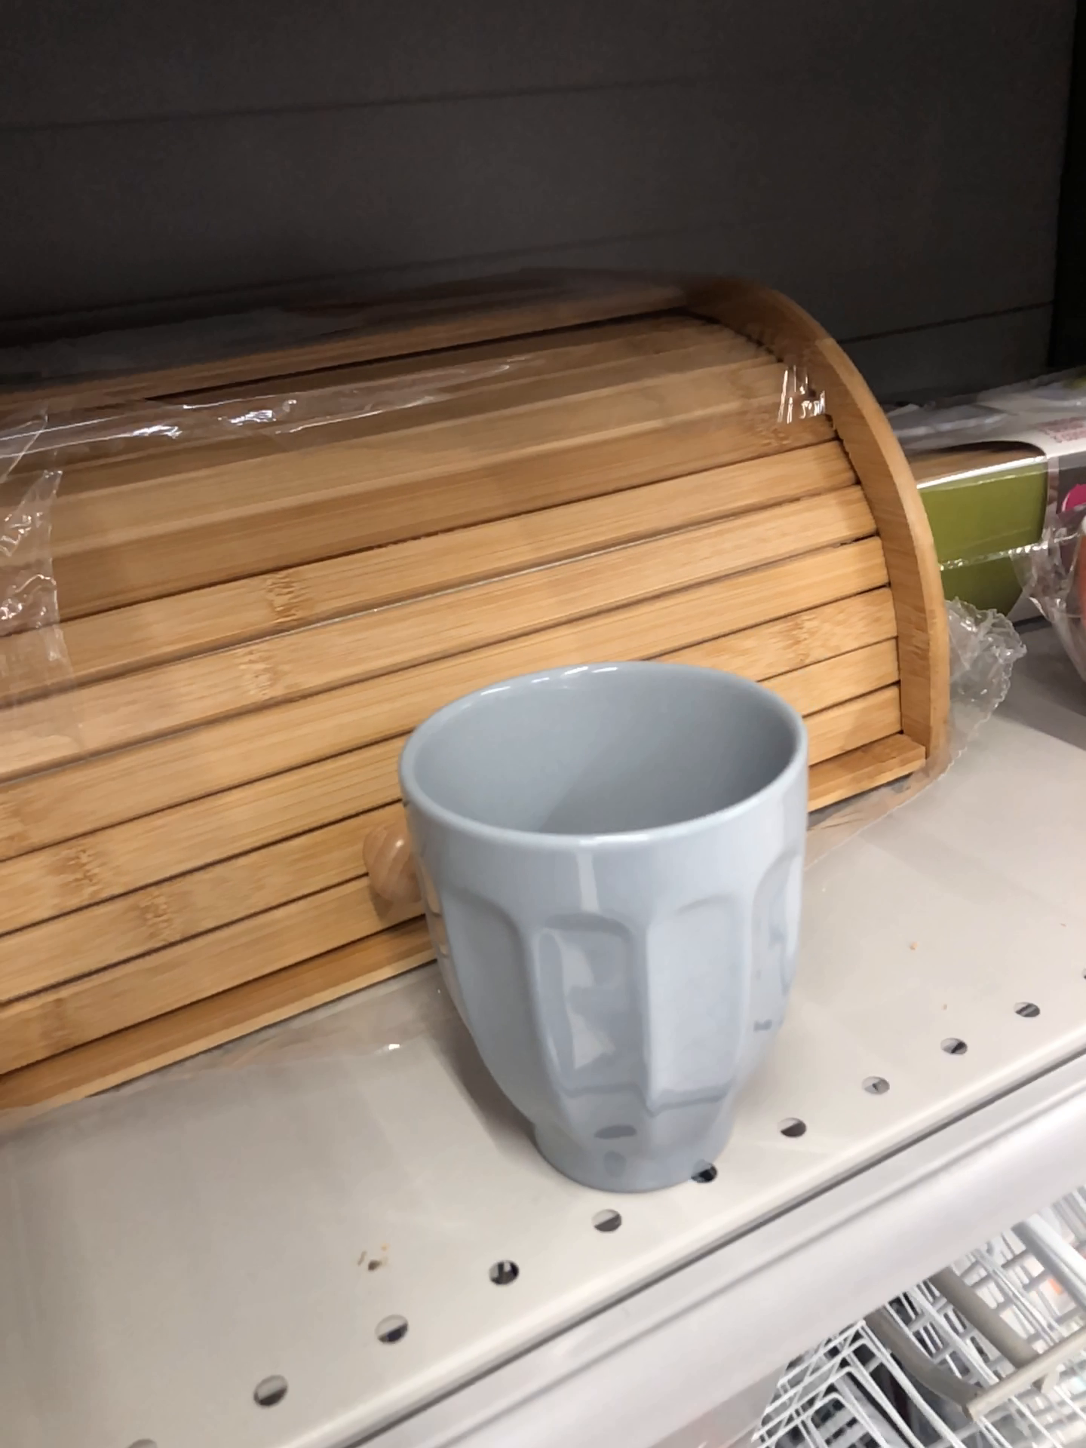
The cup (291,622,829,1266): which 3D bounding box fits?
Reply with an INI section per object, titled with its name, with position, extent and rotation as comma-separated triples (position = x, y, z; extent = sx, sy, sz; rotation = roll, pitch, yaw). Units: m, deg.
[cup]
position = 0.011, 0.042, 0.276
extent = 0.092, 0.091, 0.117
rotation = -2, 25, 7
